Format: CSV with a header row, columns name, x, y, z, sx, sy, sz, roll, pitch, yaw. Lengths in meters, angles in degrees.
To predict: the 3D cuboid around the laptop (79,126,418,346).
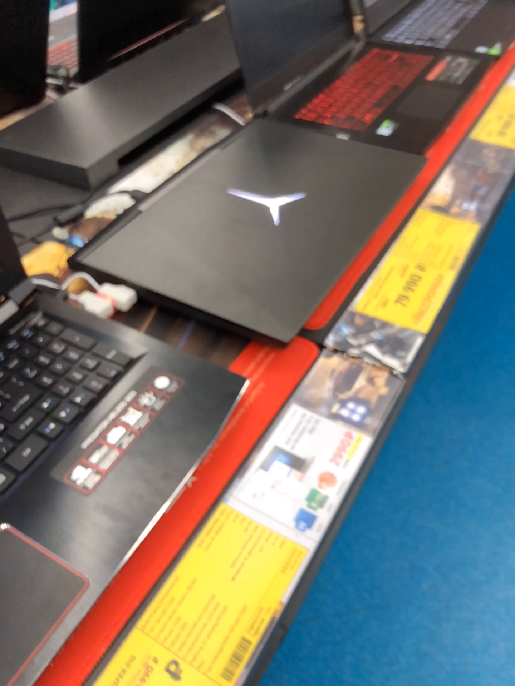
name,x,y,z,sx,sy,sz,roll,pitch,yaw
laptop,0.007,-0.145,0.638,0.227,0.007,0.345,21,50,23
